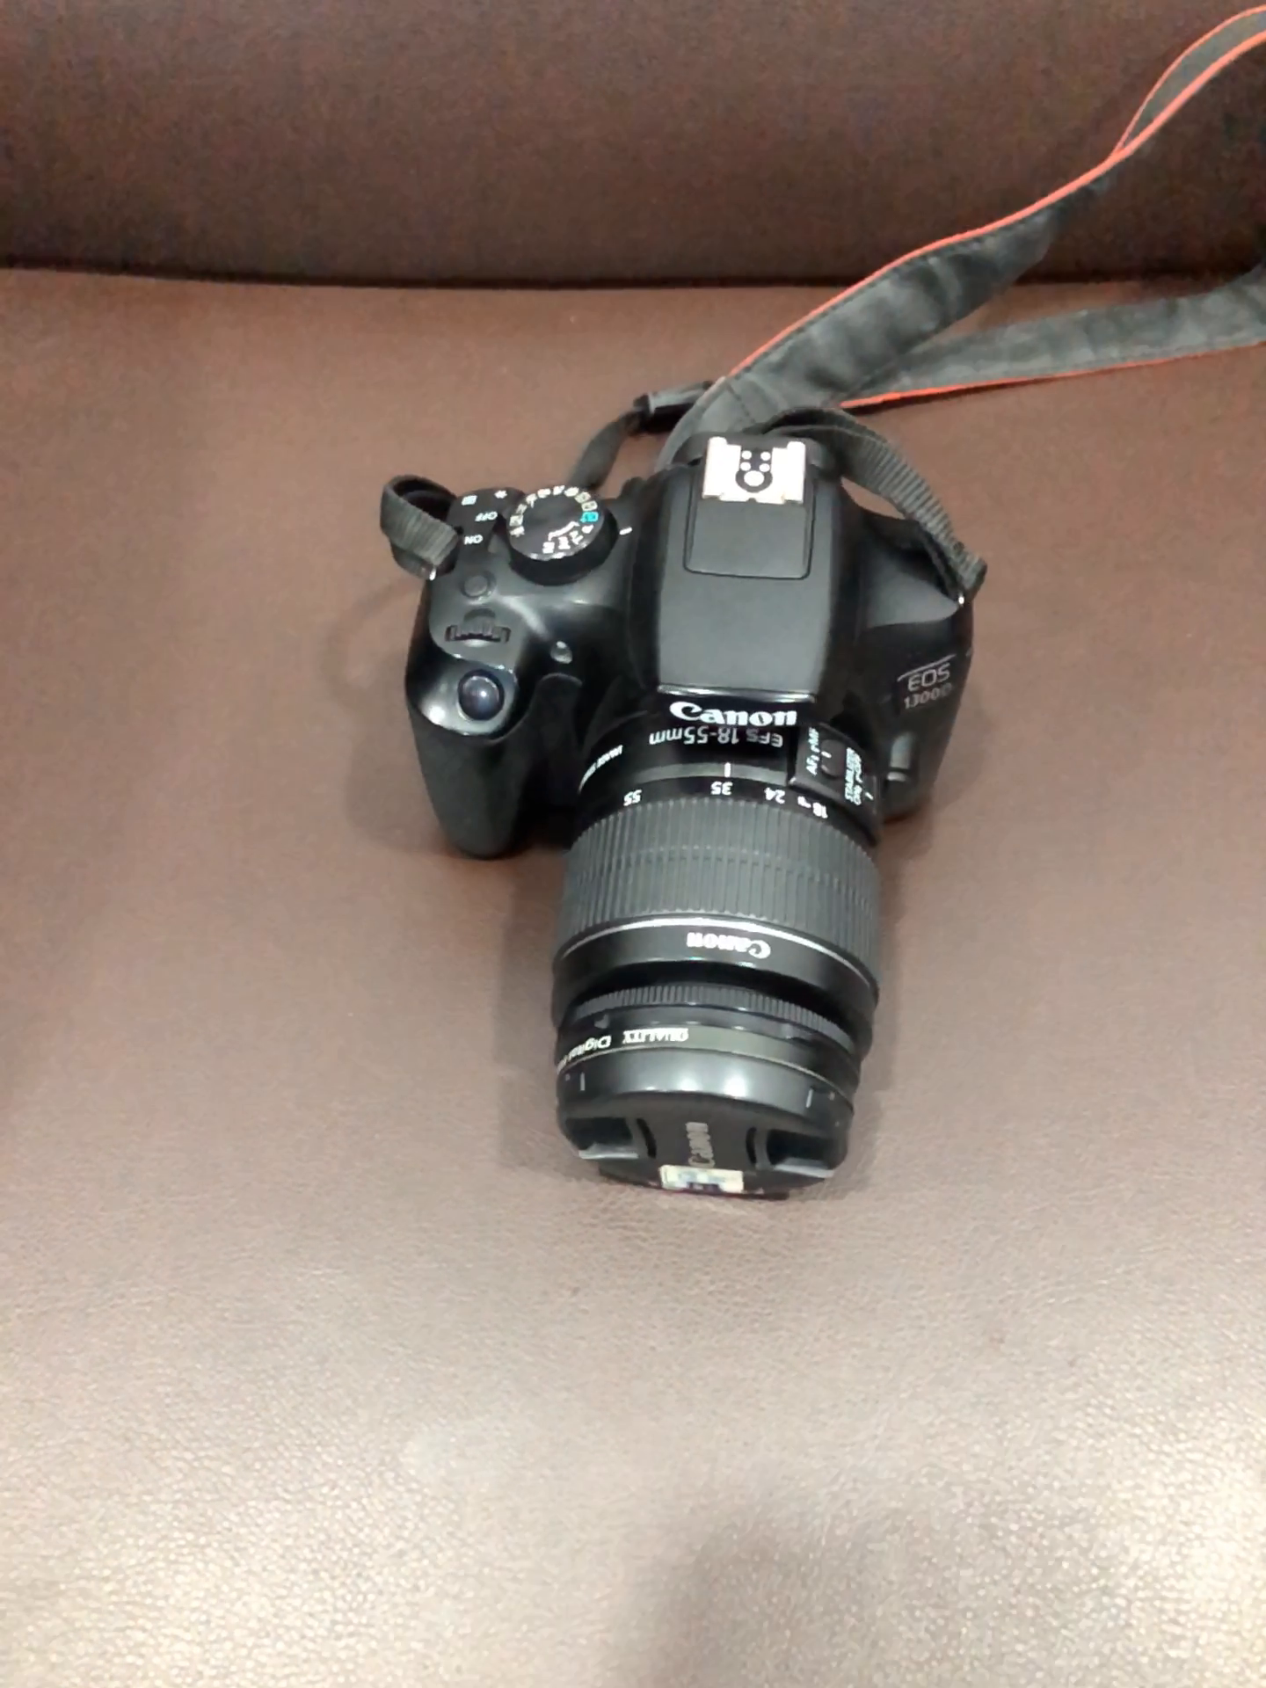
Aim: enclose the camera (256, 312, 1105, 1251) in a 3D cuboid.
[{"bbox_3d":[0.014,-0.017,0.298,0.130,0.090,0.171,4,57,3],"label":"camera"}]
